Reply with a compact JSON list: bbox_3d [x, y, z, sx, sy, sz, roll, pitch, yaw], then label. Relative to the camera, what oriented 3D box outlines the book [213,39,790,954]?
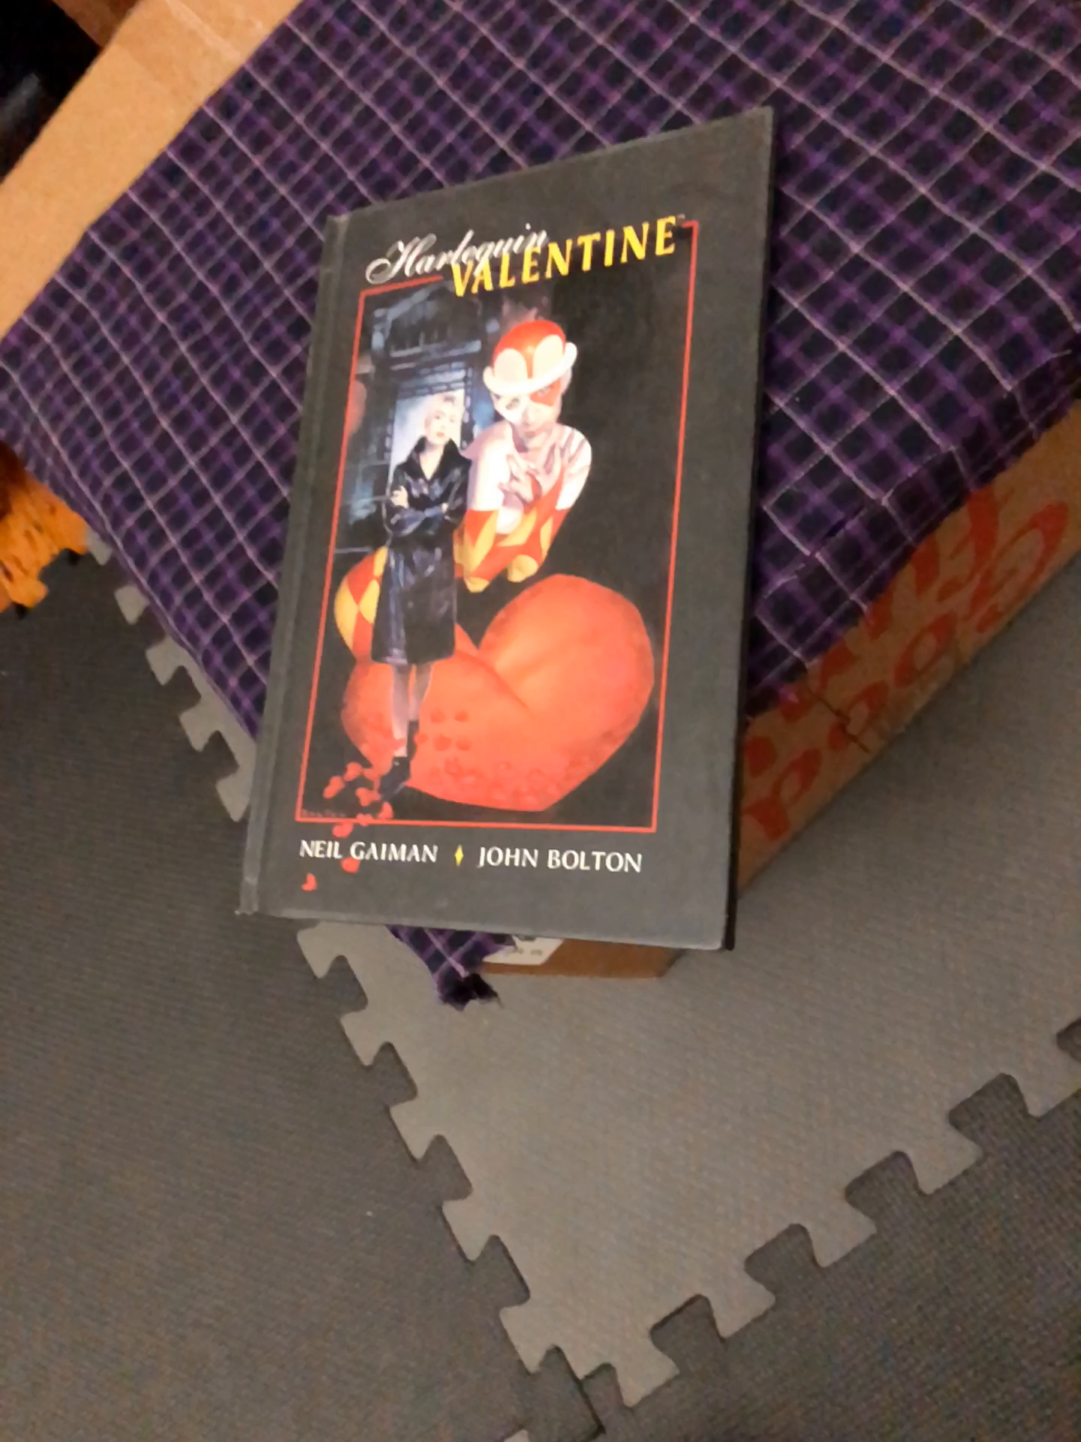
[{"bbox_3d":[-0.014,-0.072,0.393,0.180,0.020,0.280,-2,77,27],"label":"book"}]
